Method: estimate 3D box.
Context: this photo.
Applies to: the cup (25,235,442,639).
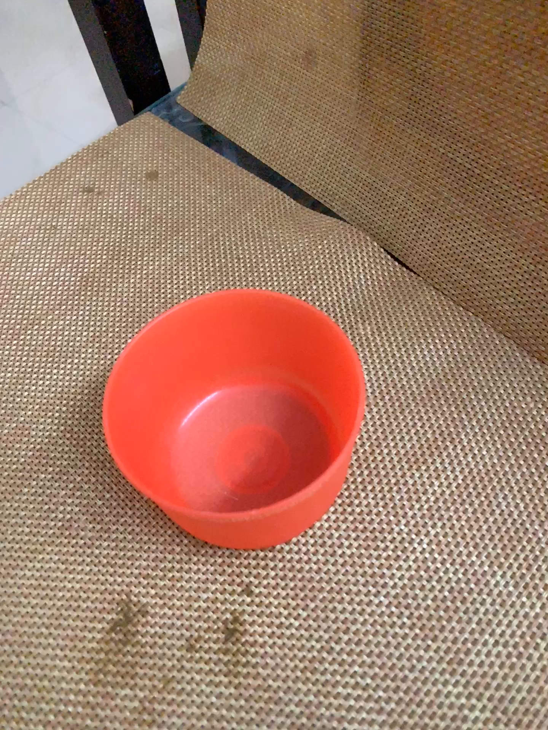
[{"bbox_3d":[-0.009,0.018,0.173,0.081,0.050,0.078,-3,56,4],"label":"cup"}]
